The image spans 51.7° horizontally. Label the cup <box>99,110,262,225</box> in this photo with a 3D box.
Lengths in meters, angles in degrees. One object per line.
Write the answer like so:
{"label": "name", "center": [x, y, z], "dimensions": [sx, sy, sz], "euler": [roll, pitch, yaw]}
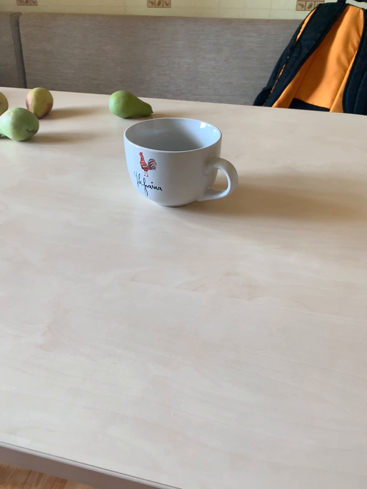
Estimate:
{"label": "cup", "center": [-0.003, -0.088, 0.398], "dimensions": [0.130, 0.060, 0.100], "euler": [24, 42, 30]}
